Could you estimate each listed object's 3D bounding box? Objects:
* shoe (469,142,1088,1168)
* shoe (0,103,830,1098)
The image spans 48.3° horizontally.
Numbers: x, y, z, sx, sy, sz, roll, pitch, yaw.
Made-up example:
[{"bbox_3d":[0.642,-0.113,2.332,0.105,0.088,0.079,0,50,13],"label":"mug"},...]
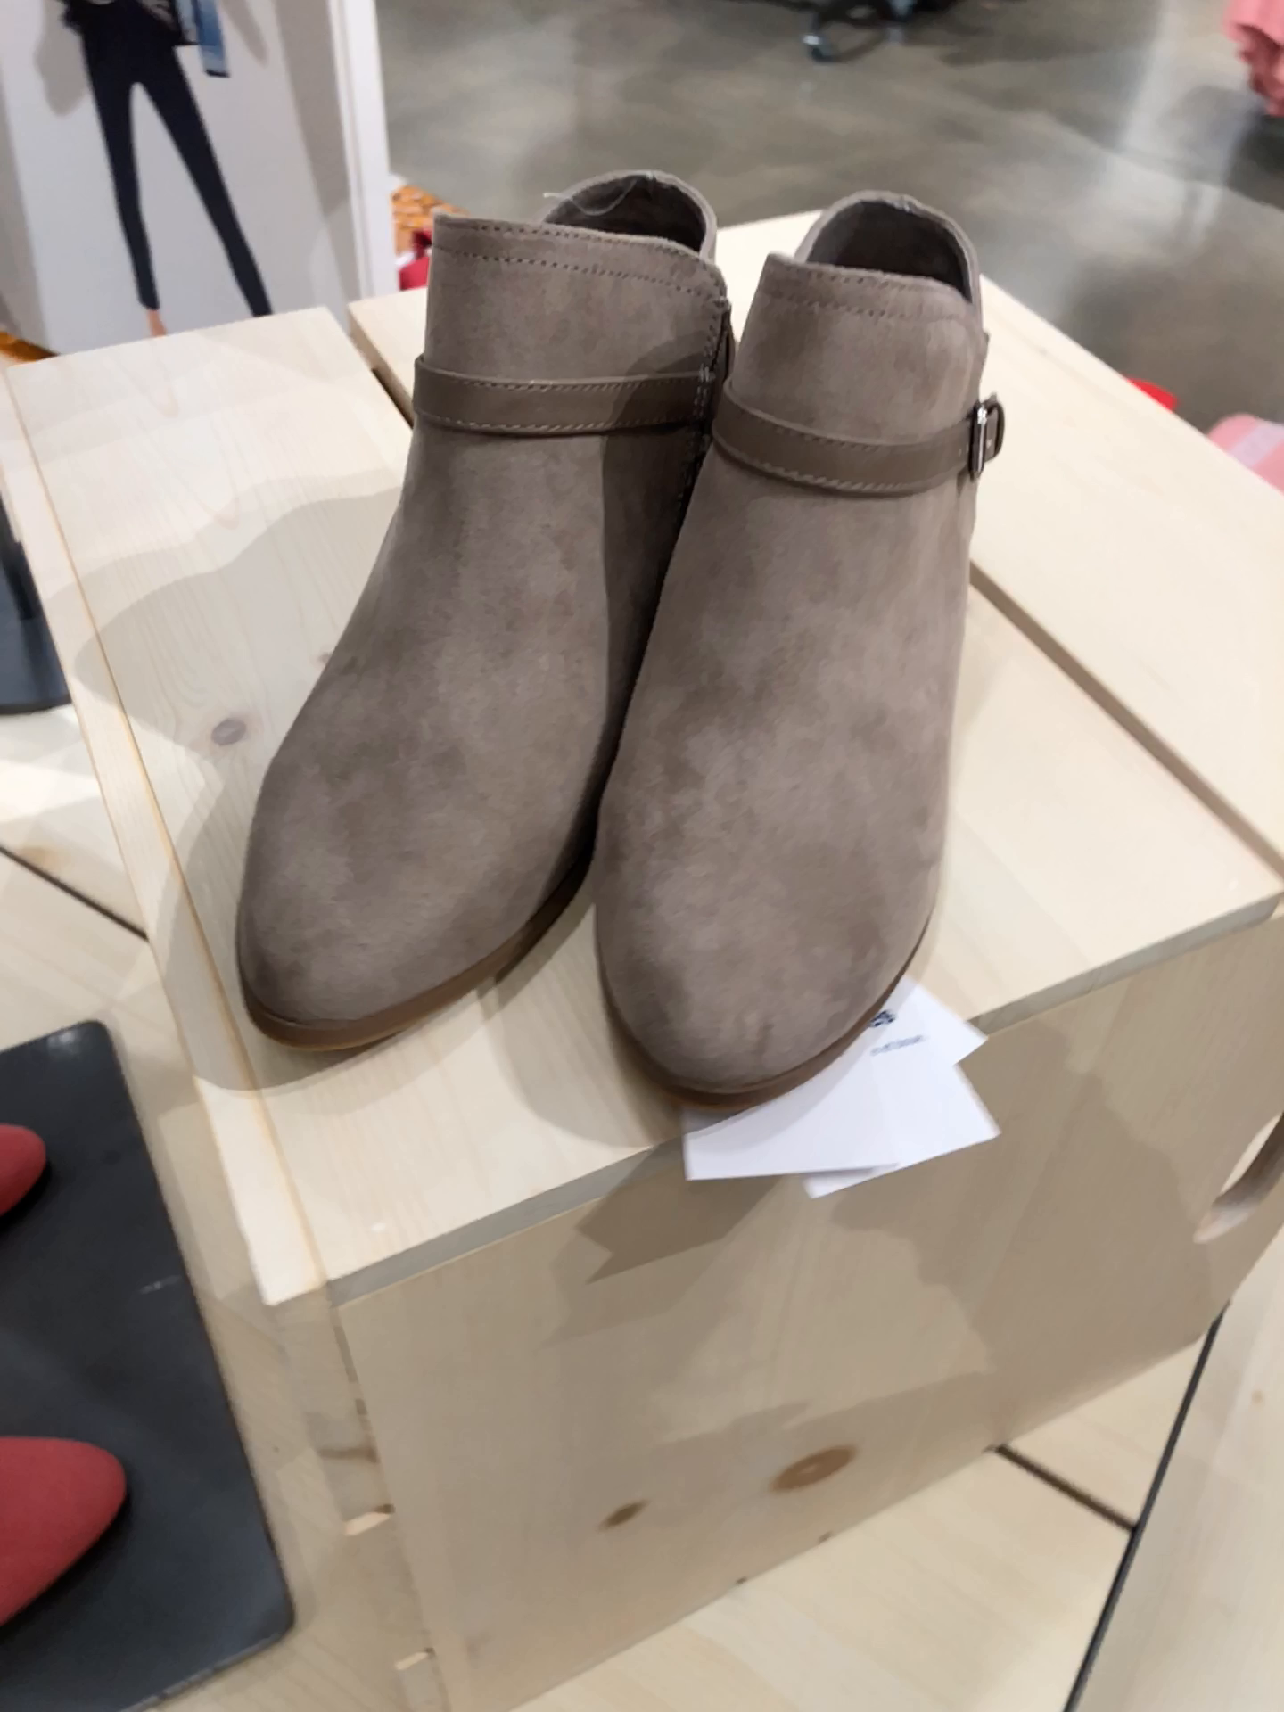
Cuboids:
[{"bbox_3d":[0.045,-0.068,0.355,0.090,0.110,0.251,12,47,9],"label":"shoe"},{"bbox_3d":[-0.034,-0.082,0.360,0.090,0.110,0.251,16,48,12],"label":"shoe"}]
